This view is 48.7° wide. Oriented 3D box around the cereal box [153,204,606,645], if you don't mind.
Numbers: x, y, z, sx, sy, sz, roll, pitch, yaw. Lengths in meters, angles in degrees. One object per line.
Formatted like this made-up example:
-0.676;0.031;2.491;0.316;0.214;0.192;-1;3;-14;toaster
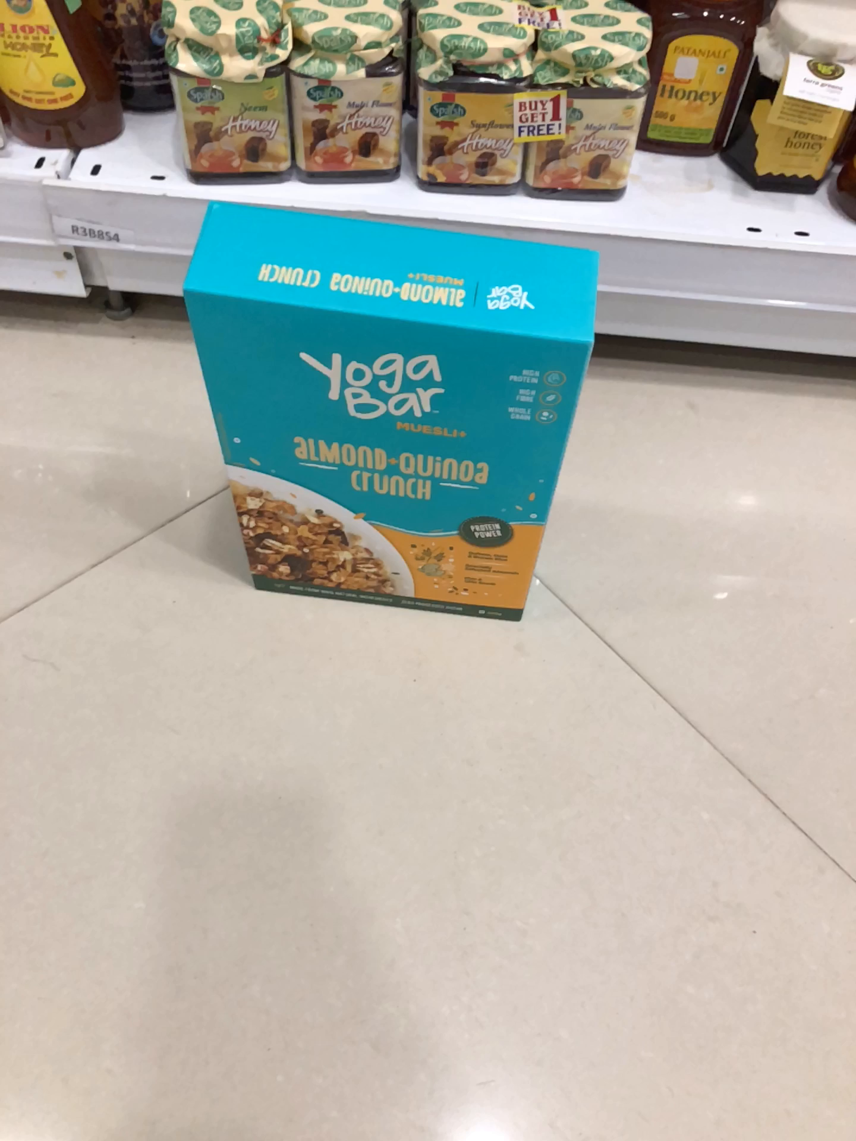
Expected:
-0.020;-0.054;0.465;0.170;0.229;0.060;7;57;1;cereal box
